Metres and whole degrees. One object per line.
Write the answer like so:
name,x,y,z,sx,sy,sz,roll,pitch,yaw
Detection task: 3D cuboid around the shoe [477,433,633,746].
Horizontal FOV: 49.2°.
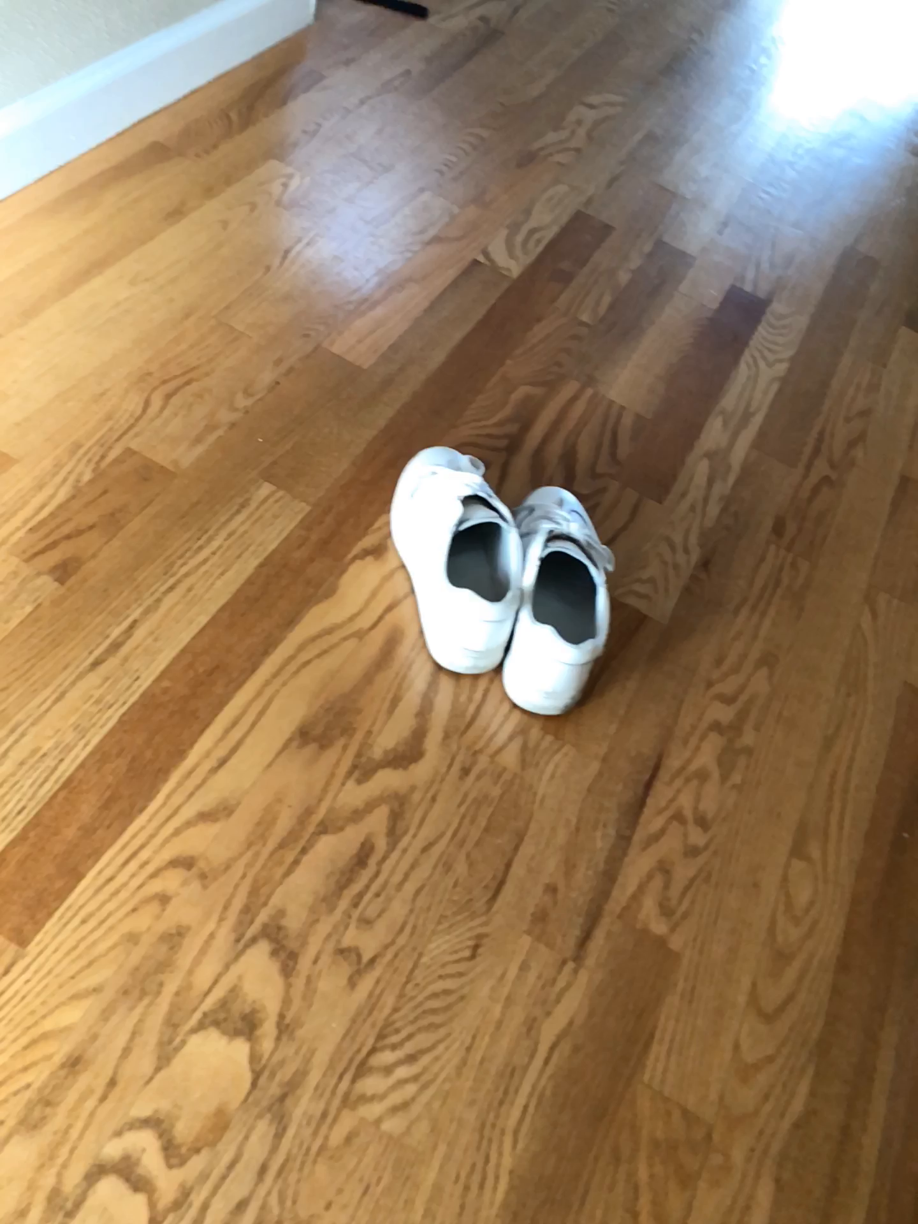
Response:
shoe,0.091,-0.025,0.919,0.102,0.106,0.261,13,51,-7

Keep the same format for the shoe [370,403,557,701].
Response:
shoe,-0.005,-0.060,0.918,0.103,0.104,0.261,-1,54,-17
